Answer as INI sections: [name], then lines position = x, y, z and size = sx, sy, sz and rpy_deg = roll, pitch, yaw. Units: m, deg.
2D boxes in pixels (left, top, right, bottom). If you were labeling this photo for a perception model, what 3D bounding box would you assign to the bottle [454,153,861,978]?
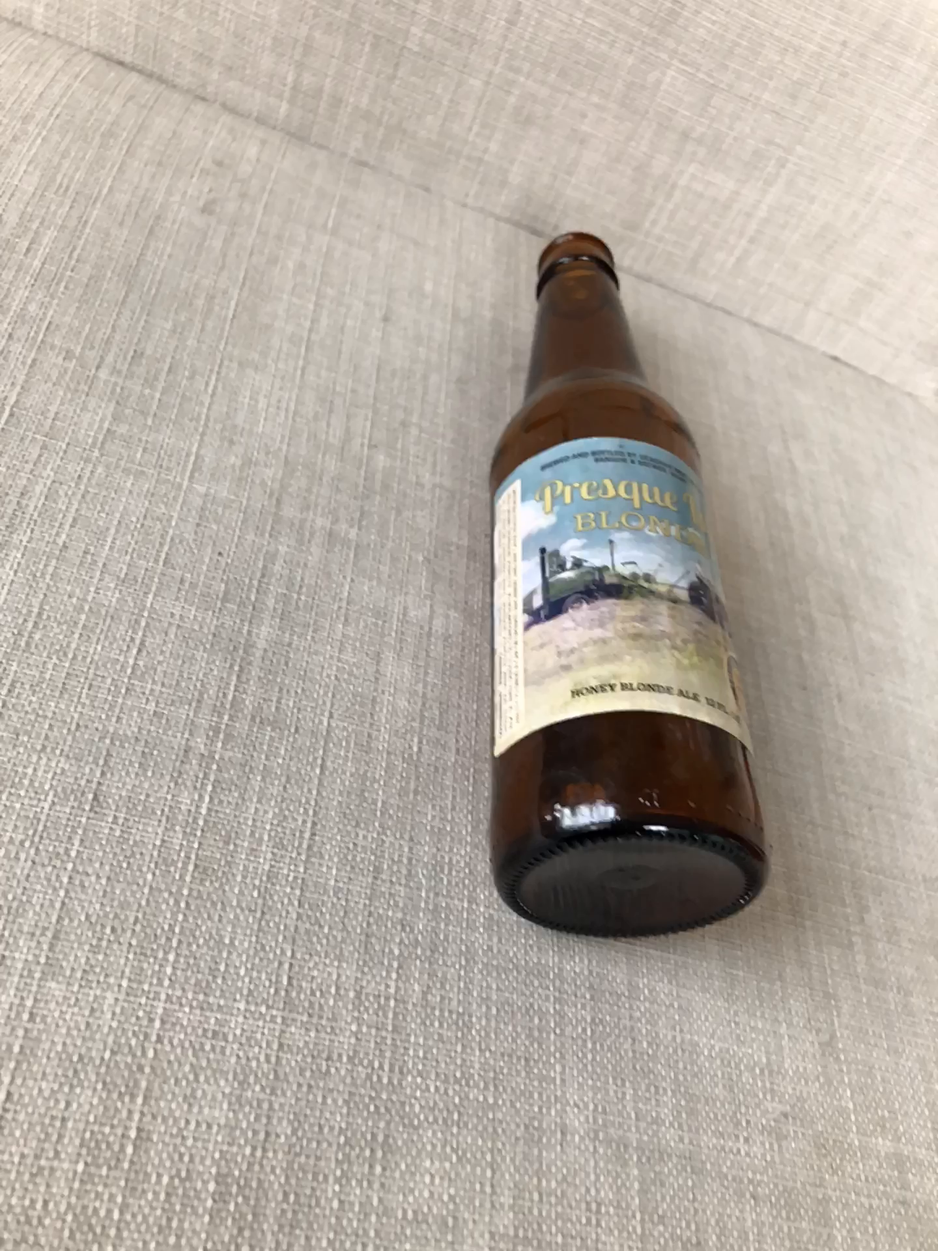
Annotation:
[bottle]
position = 0.037, -0.033, 0.283
size = 0.066, 0.060, 0.232
rpy_deg = 8, 52, -8
